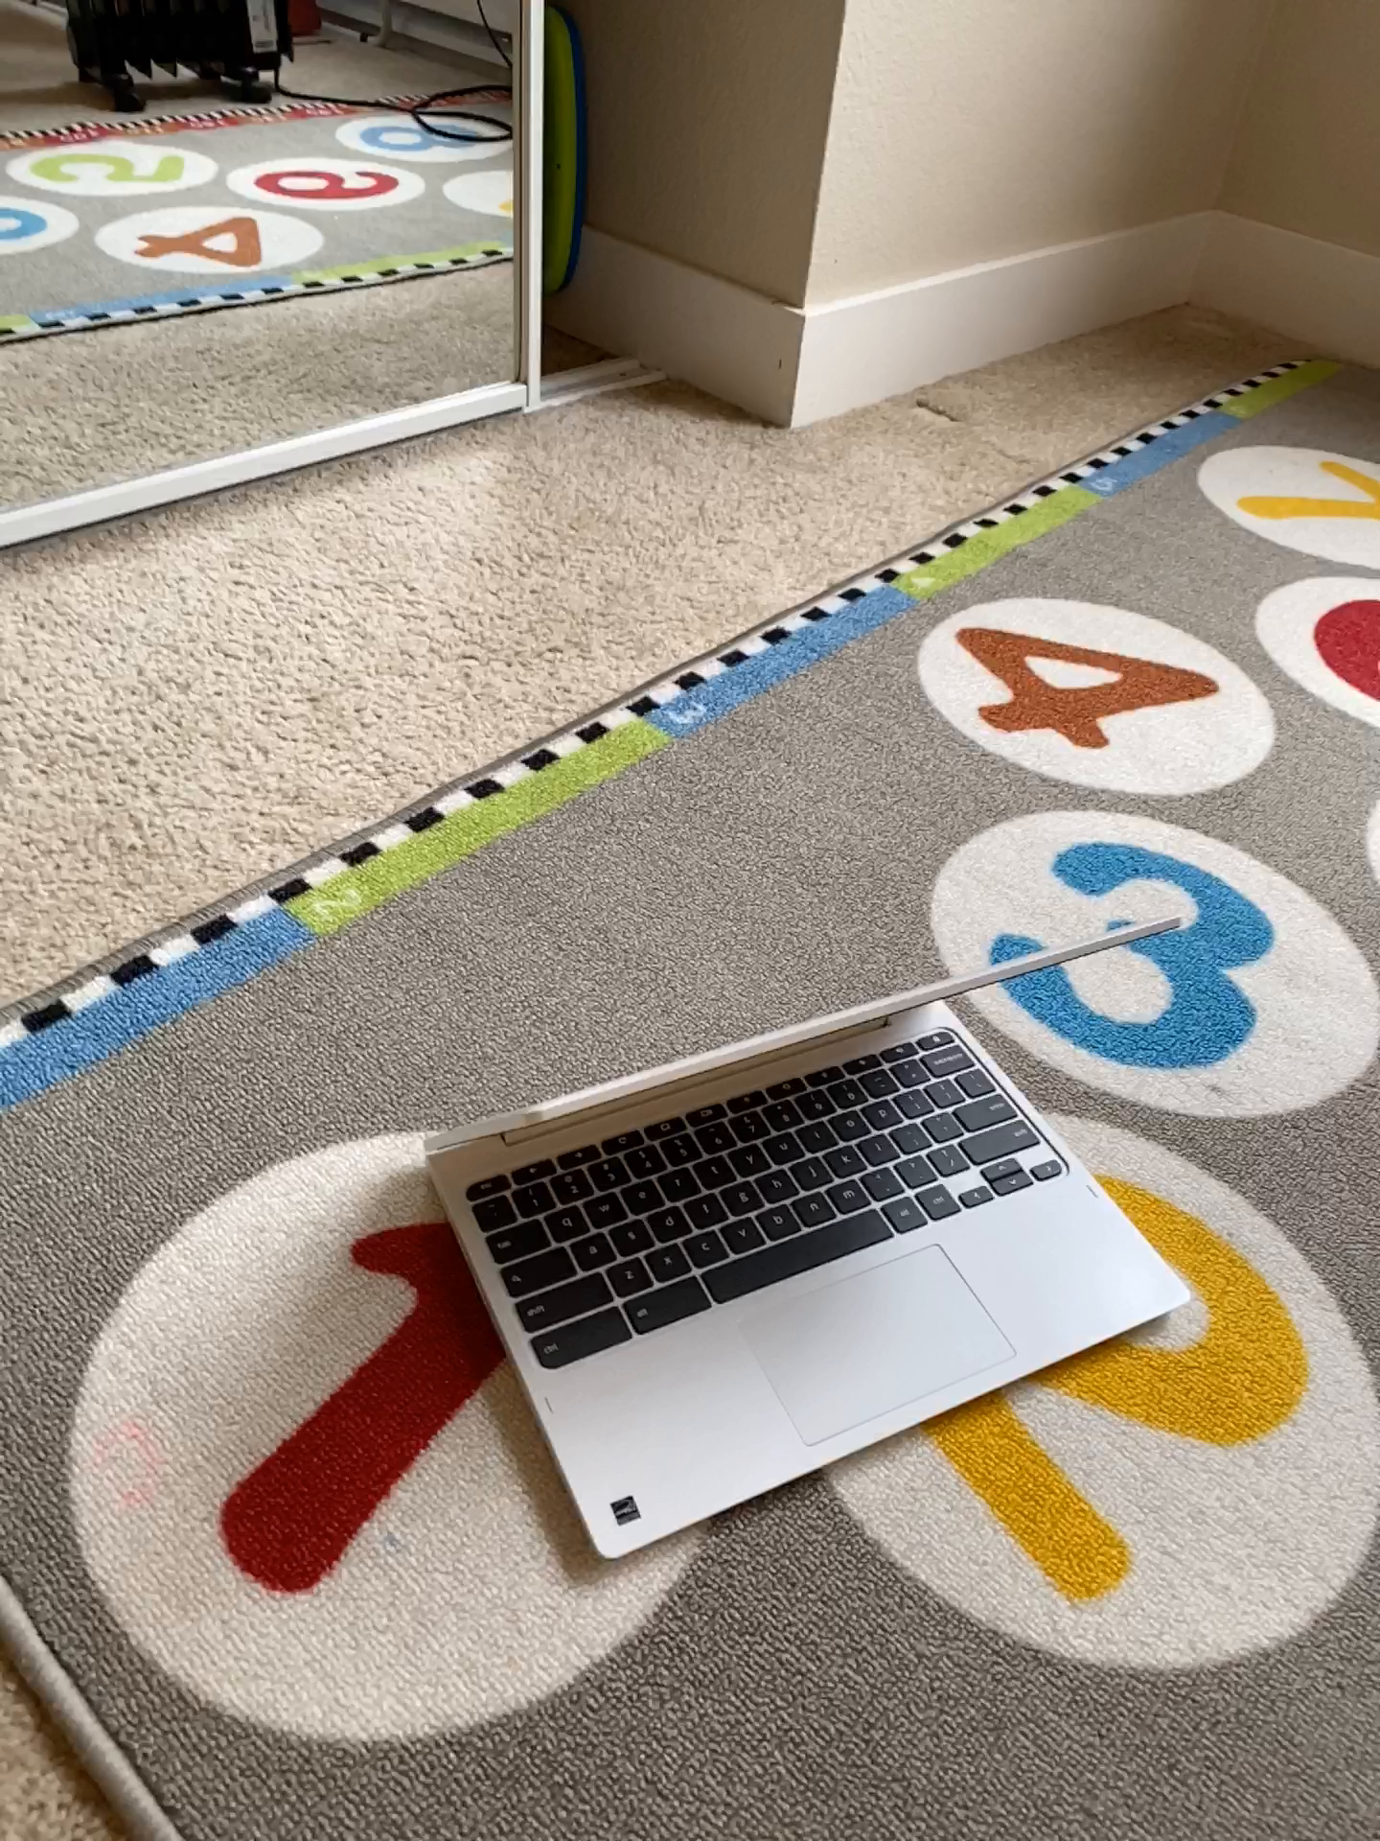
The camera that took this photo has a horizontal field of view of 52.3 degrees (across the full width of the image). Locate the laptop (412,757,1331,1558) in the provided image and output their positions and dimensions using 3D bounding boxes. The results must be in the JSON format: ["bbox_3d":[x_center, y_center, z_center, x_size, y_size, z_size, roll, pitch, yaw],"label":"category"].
[{"bbox_3d":[0.061,0.080,0.610,0.299,0.162,0.217,-14,44,-23],"label":"laptop"}]
